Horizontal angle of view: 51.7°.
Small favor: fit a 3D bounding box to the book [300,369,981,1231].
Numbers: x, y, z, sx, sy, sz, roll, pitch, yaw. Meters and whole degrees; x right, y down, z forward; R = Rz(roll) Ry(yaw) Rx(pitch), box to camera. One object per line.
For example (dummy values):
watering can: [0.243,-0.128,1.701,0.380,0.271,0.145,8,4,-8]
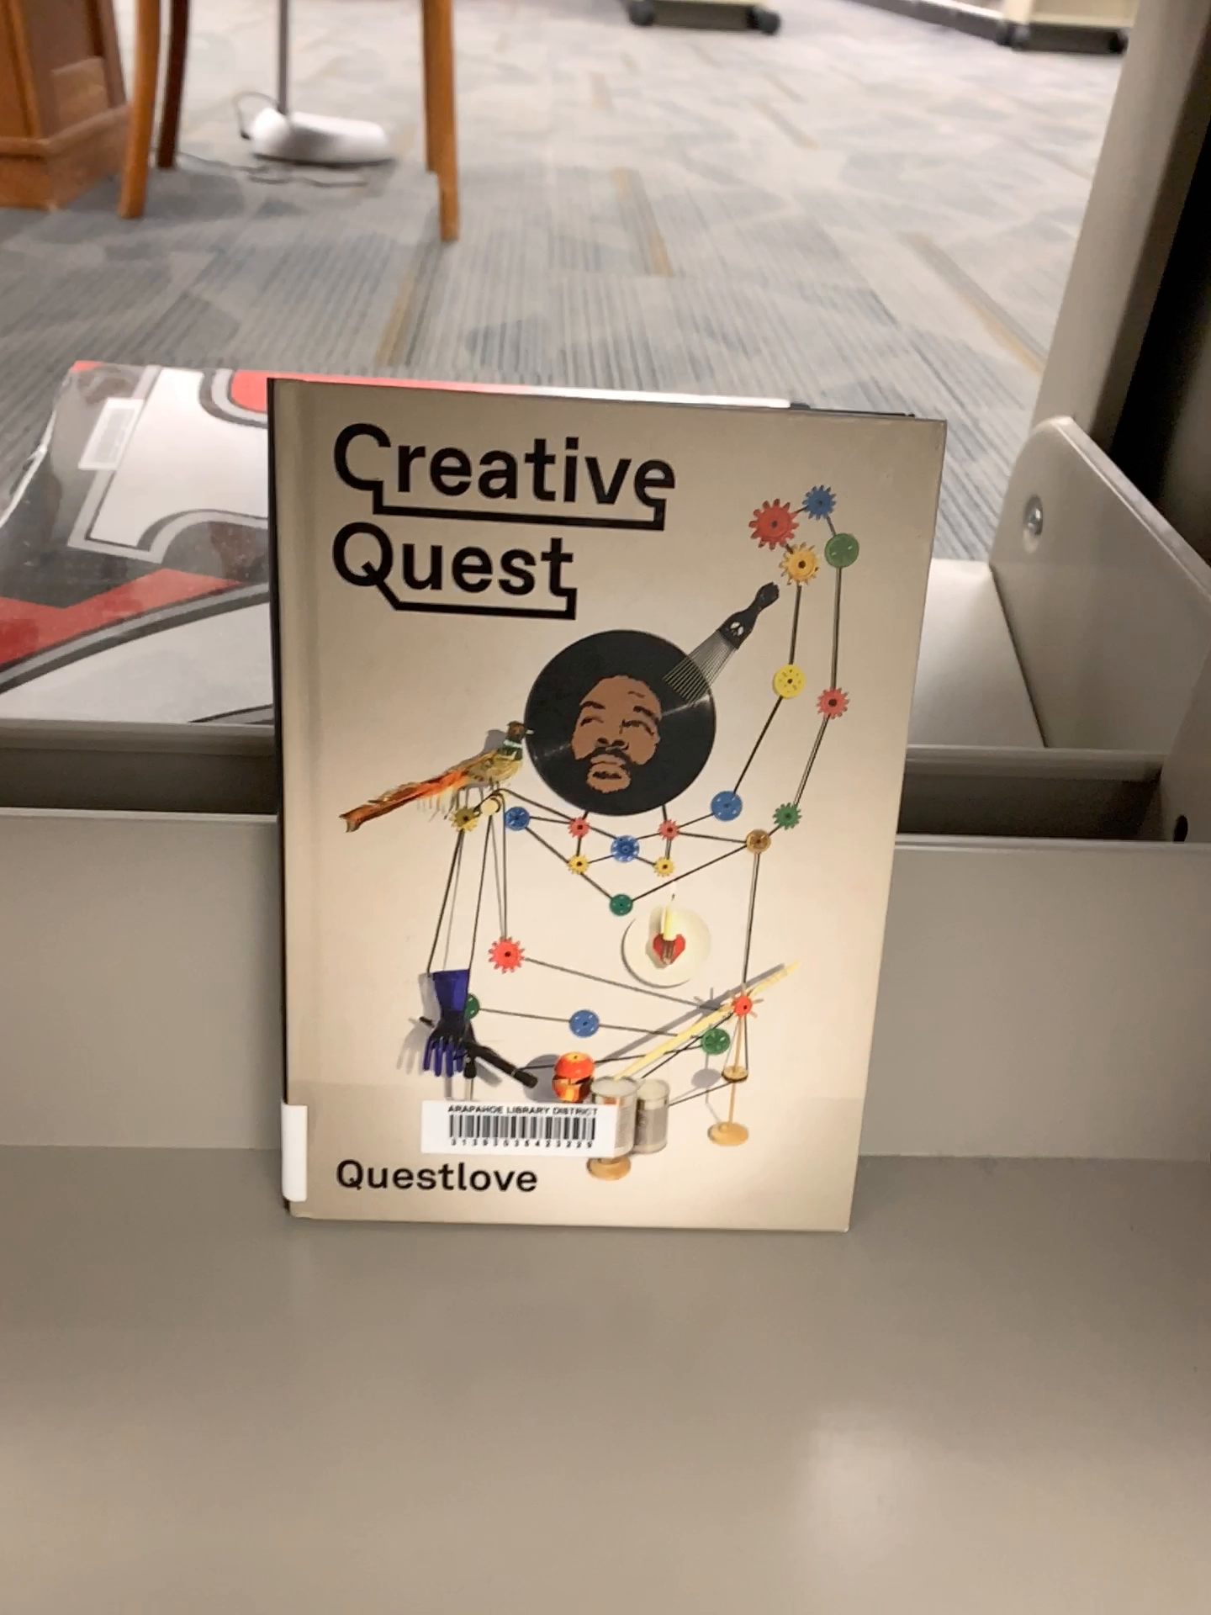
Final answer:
book: [0.002,0.006,0.337,0.160,0.223,0.031,2,15,-3]
